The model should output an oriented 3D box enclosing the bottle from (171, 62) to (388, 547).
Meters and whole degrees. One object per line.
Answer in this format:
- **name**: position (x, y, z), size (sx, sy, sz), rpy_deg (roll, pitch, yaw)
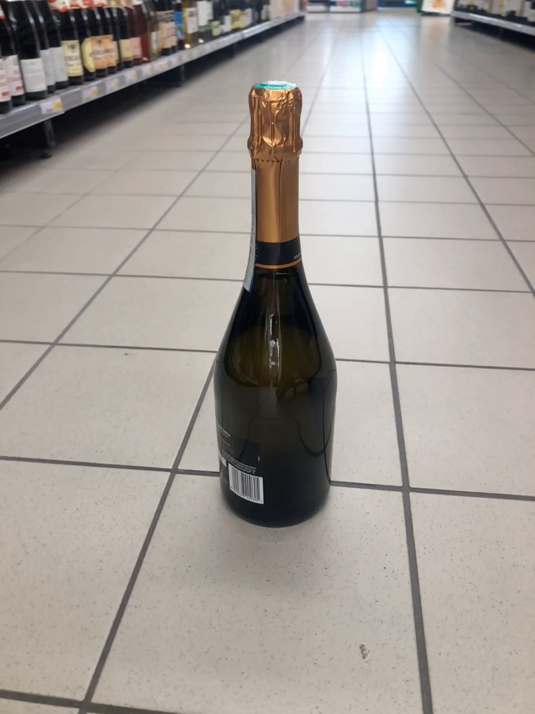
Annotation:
- **bottle**: position (0.005, -0.028, 0.421), size (0.090, 0.318, 0.100), rpy_deg (-14, 33, -22)
